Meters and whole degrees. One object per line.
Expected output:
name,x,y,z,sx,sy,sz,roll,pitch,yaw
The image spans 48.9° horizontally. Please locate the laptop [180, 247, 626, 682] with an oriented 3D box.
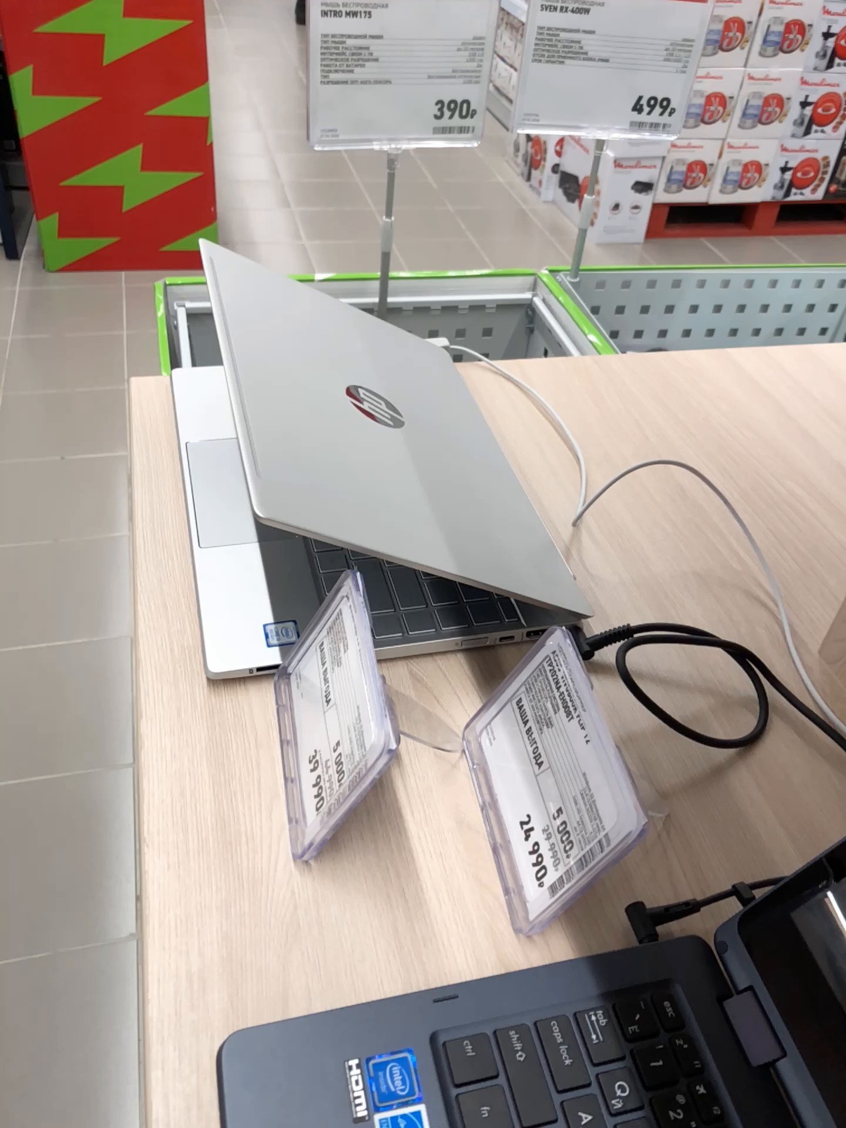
laptop,-0.039,-0.090,0.597,0.206,0.095,0.323,-7,41,-13
